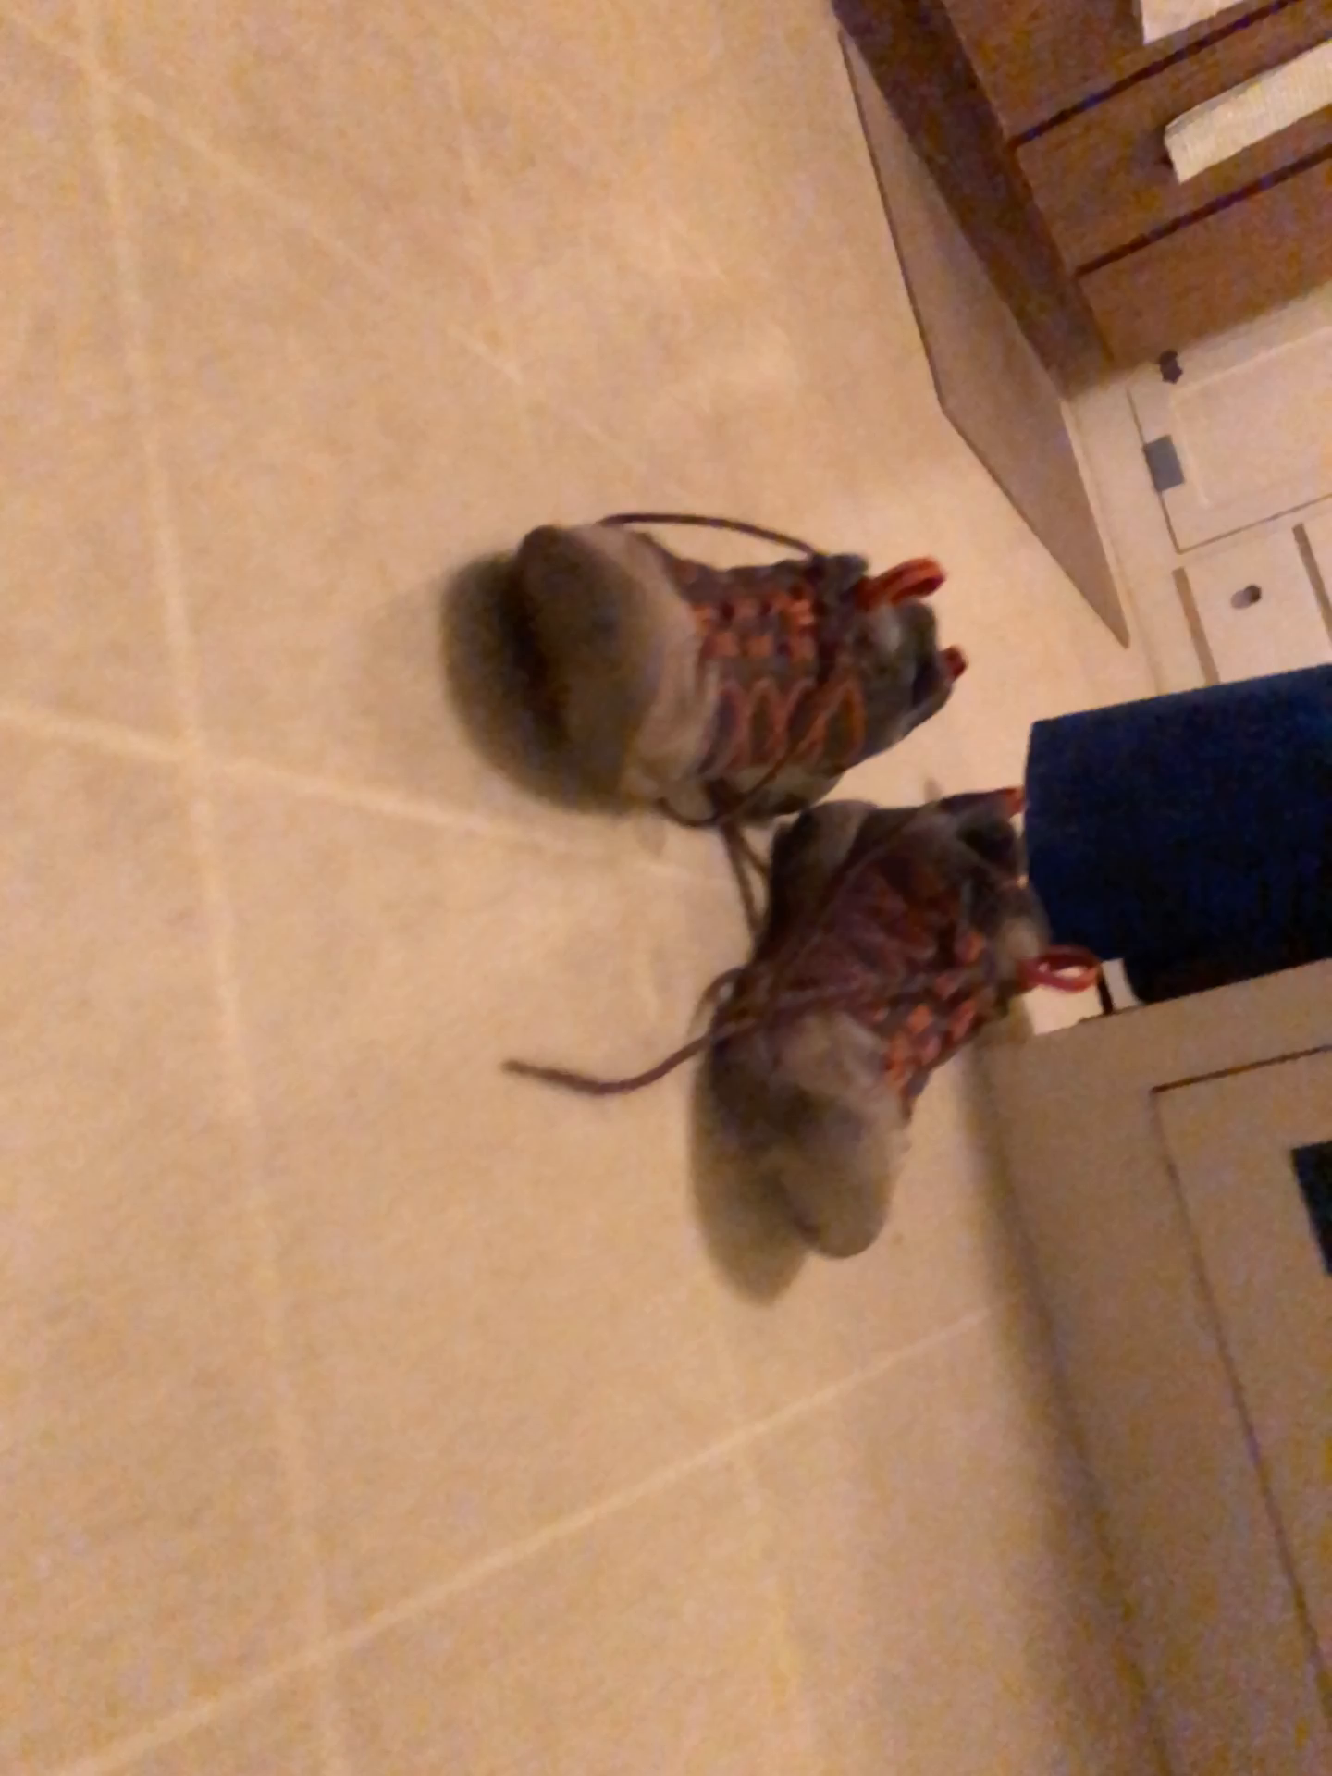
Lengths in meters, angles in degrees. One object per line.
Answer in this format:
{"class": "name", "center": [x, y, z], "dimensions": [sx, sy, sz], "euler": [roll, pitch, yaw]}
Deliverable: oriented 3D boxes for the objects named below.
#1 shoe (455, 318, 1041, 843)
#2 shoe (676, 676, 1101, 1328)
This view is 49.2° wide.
{"class": "shoe", "center": [0.055, -0.110, 0.645], "dimensions": [0.293, 0.121, 0.127], "euler": [7, 67, -62]}
{"class": "shoe", "center": [0.116, 0.040, 0.676], "dimensions": [0.127, 0.121, 0.283], "euler": [58, 28, -25]}
